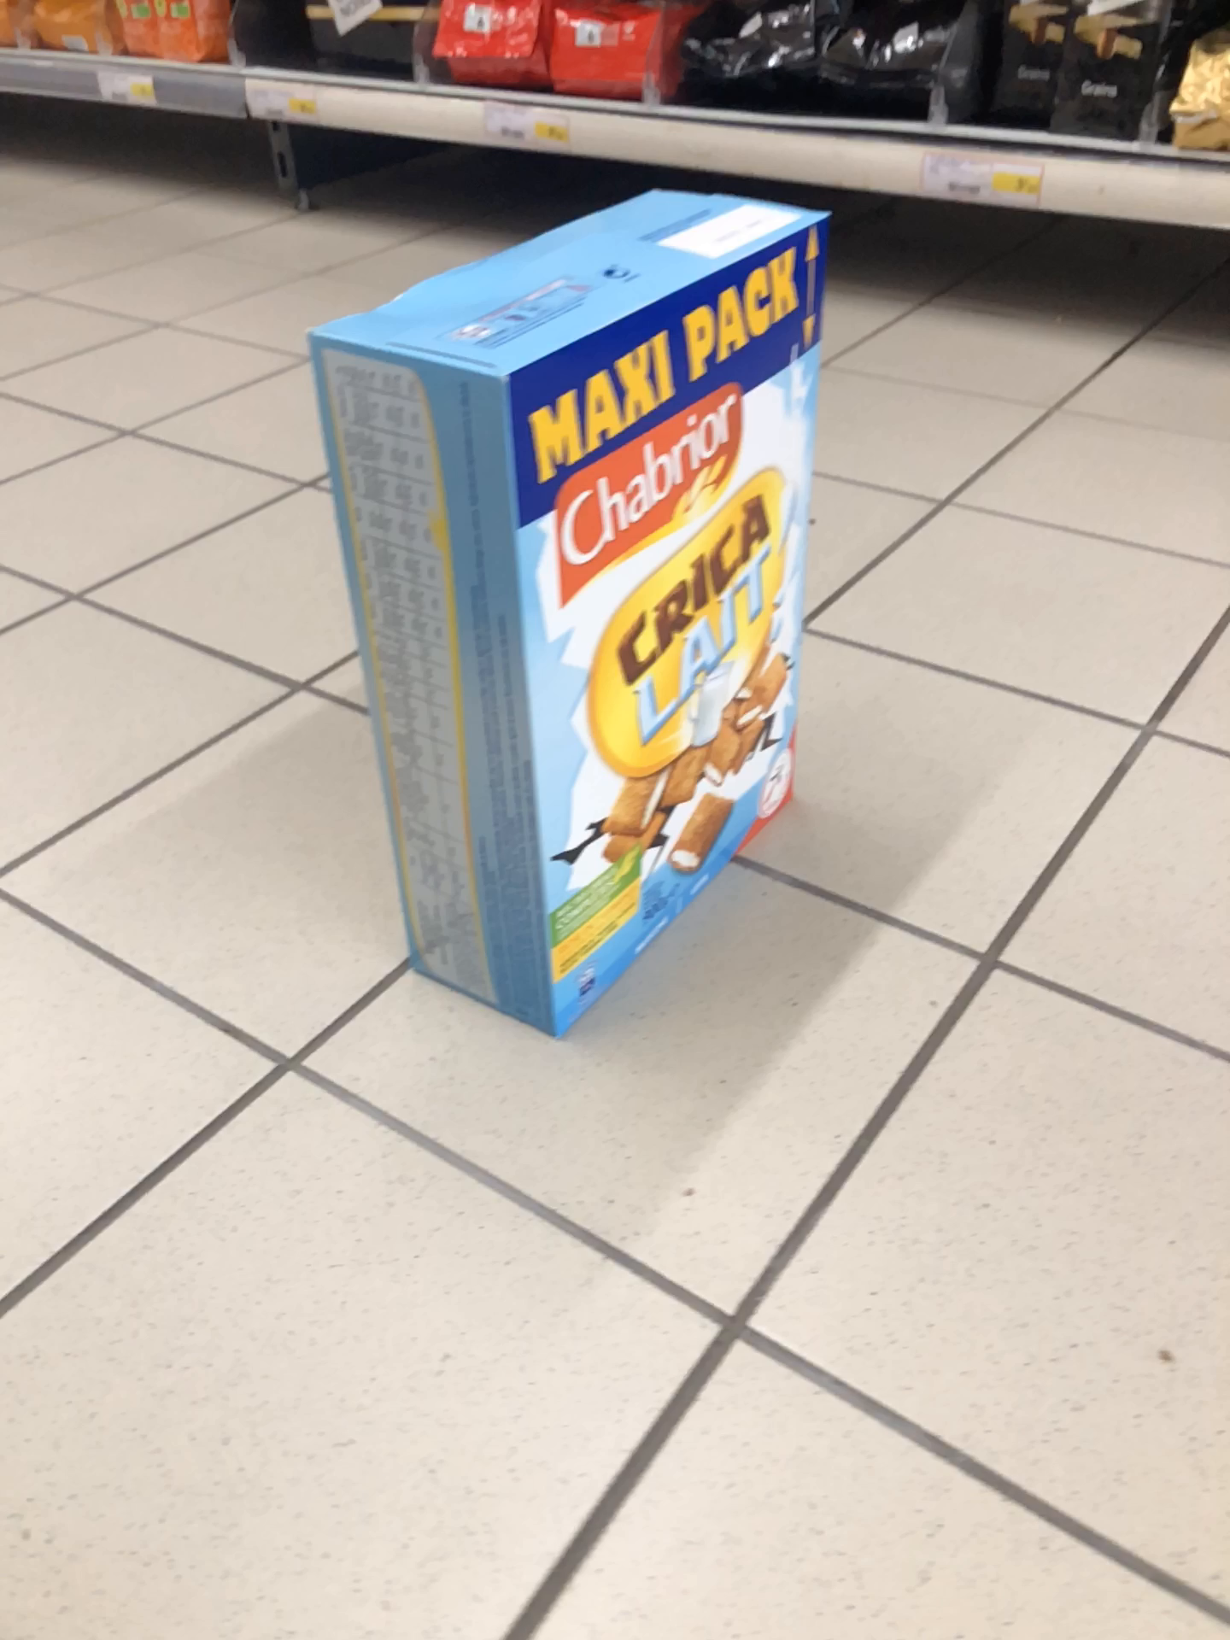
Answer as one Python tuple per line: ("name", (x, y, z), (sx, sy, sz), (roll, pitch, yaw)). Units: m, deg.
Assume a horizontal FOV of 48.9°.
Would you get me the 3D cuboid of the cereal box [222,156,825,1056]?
("cereal box", (-0.015, -0.084, 0.518), (0.090, 0.268, 0.201), (22, 43, 29))
